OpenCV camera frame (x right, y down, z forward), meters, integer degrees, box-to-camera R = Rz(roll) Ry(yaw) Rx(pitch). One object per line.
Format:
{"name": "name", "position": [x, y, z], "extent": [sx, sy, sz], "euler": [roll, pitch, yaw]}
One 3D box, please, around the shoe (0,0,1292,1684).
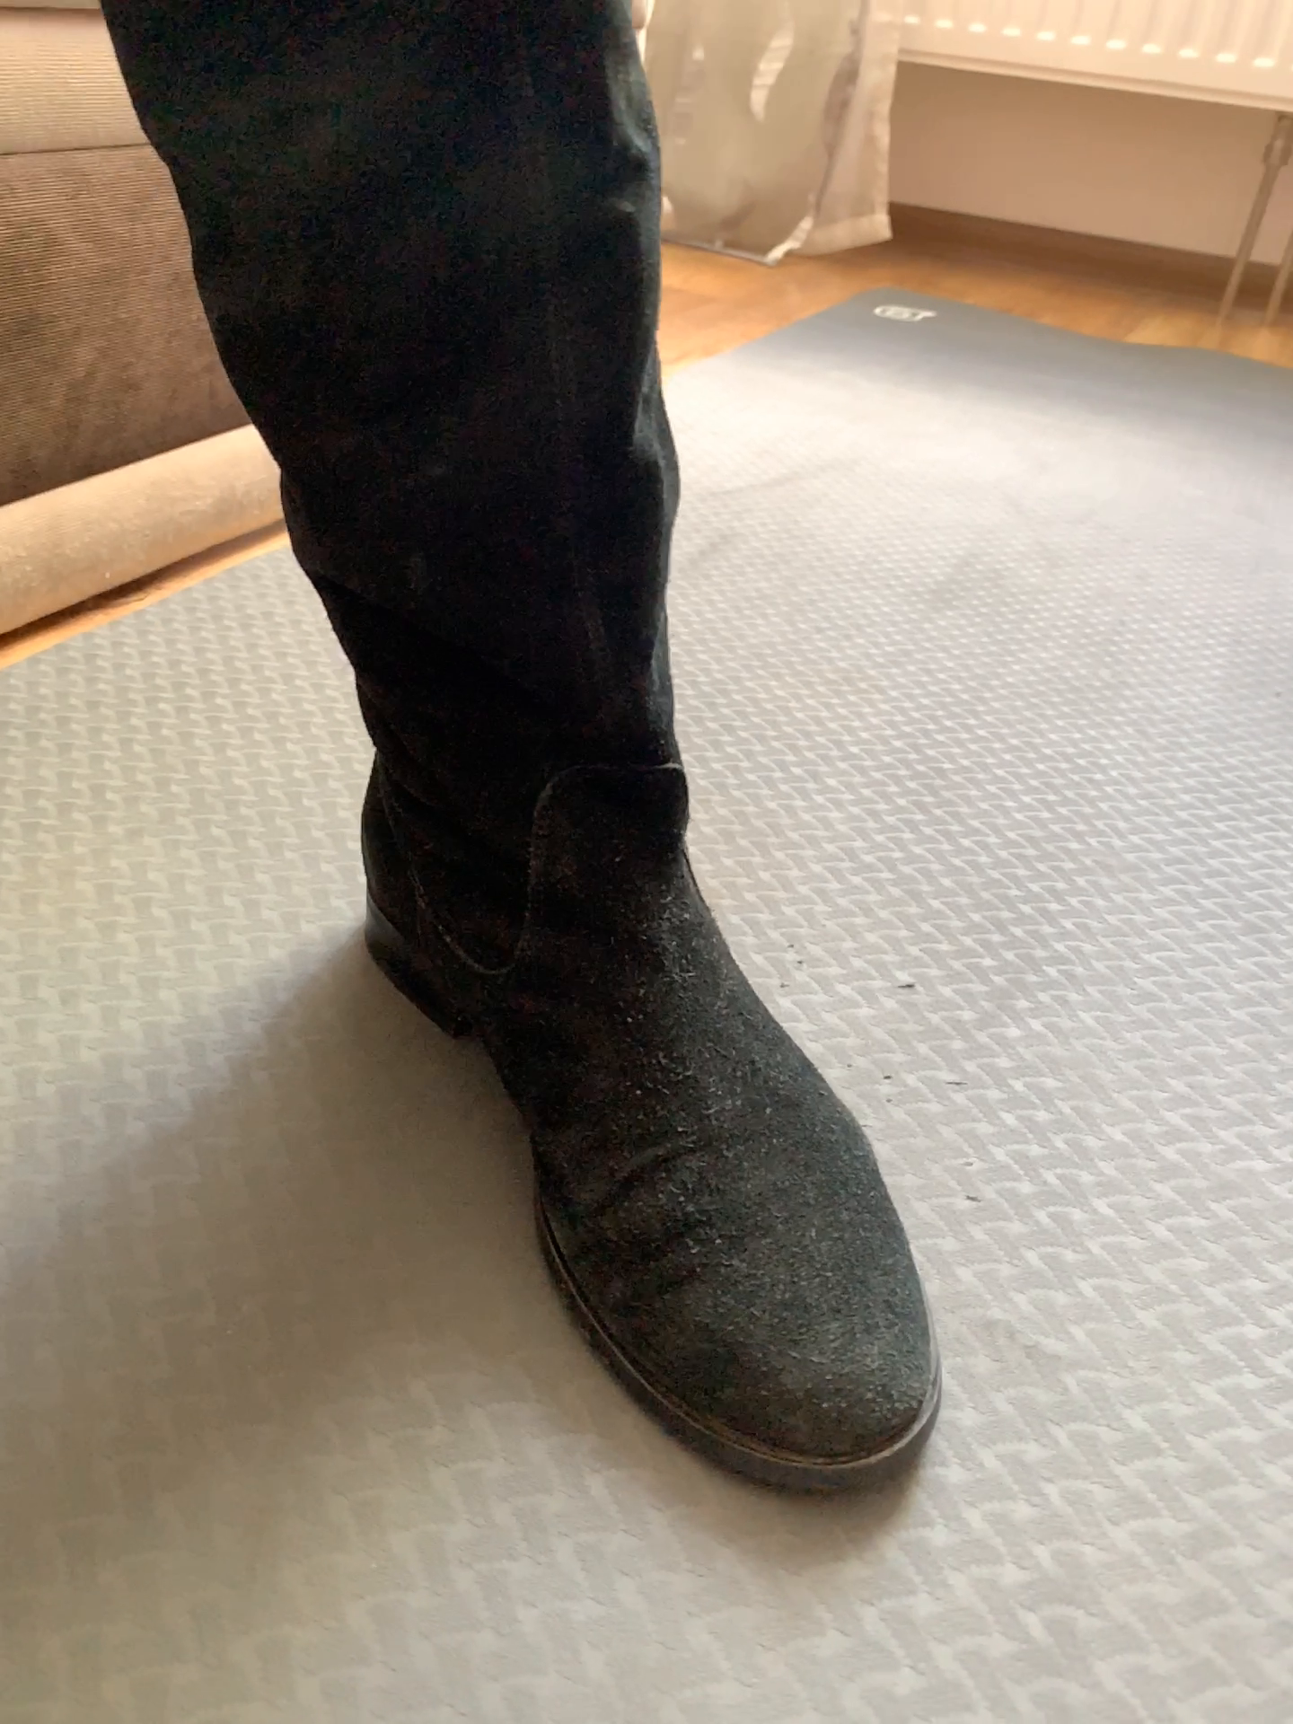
{"name": "shoe", "position": [-0.034, -0.106, 0.281], "extent": [0.130, 0.378, 0.321], "euler": [-17, 37, -28]}
